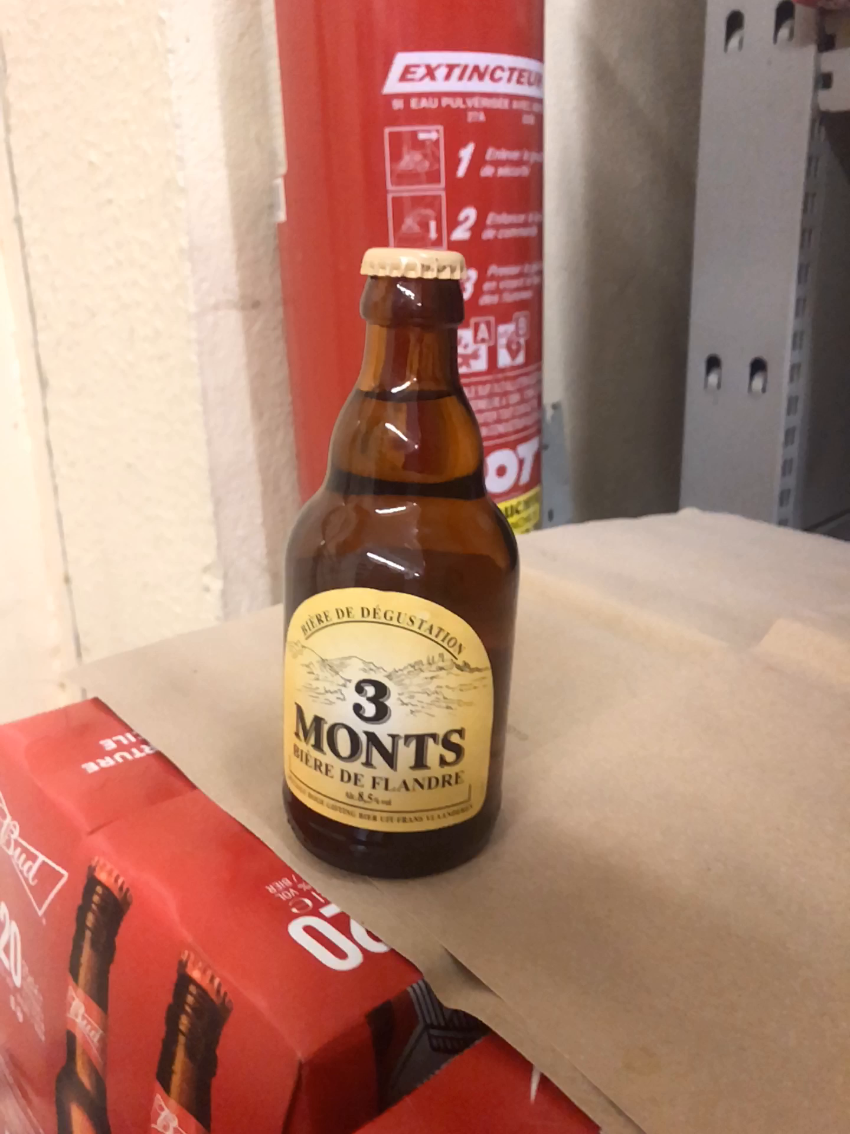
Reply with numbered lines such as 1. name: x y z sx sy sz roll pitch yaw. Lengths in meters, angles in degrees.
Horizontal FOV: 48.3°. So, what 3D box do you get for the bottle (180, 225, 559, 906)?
1. bottle: -0.009 -0.006 0.266 0.080 0.166 0.080 1 17 0
